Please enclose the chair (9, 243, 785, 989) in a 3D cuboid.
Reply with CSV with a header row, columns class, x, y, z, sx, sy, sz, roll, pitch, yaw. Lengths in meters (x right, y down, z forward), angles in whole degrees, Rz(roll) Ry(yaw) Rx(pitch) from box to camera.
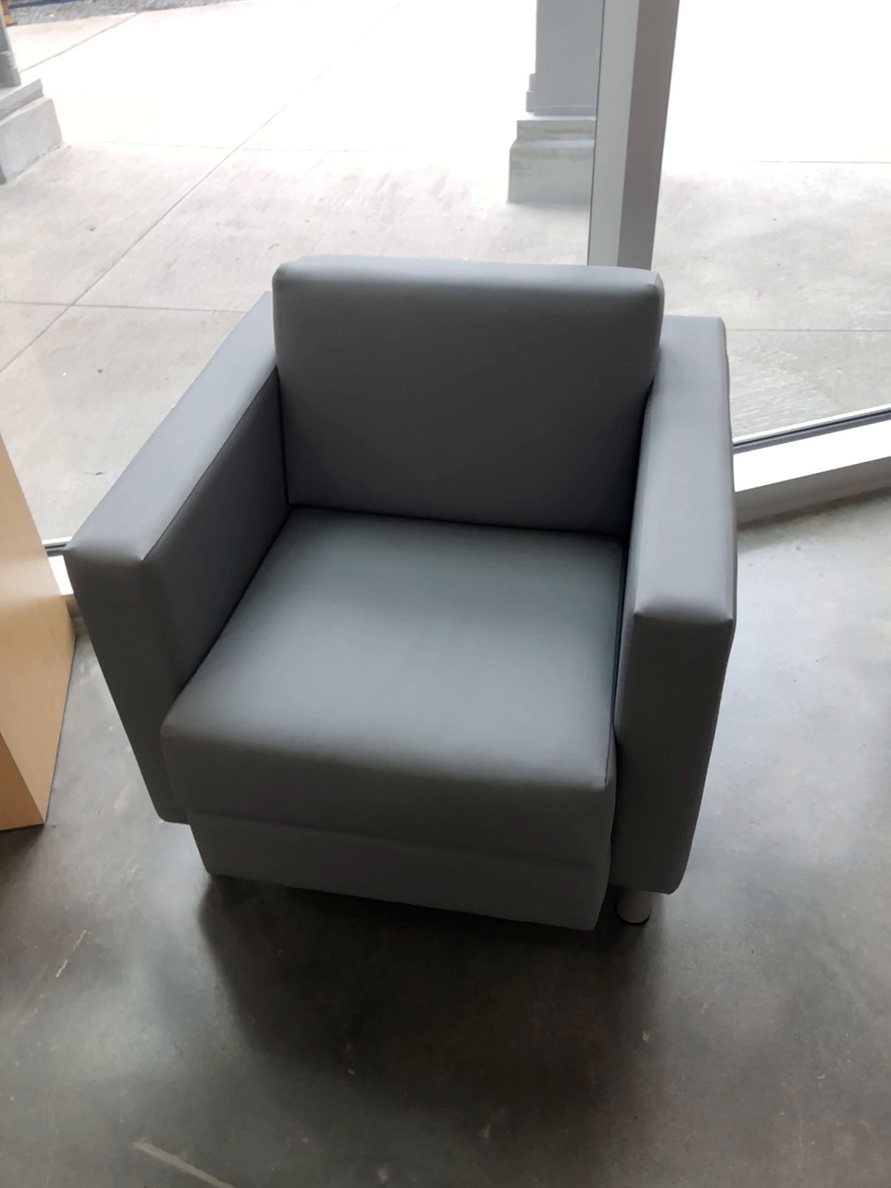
class,x,y,z,sx,sy,sz,roll,pitch,yaw
chair,0.011,-0.014,1.458,0.770,0.695,0.785,6,42,9
